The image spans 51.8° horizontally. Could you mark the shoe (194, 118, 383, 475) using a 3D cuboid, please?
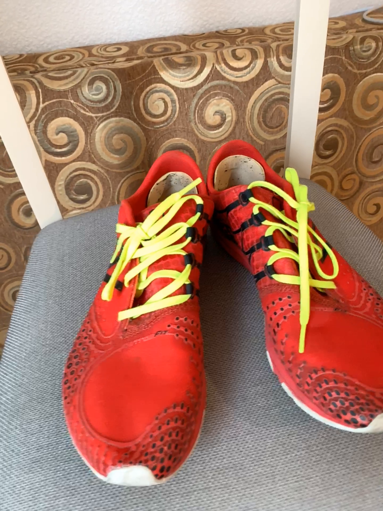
[{"bbox_3d":[0.095,0.006,0.315,0.110,0.090,0.261,-15,50,-9],"label":"shoe"}]

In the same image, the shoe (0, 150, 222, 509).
[{"bbox_3d":[-0.034,0.032,0.306,0.110,0.090,0.261,1,49,4],"label":"shoe"}]
